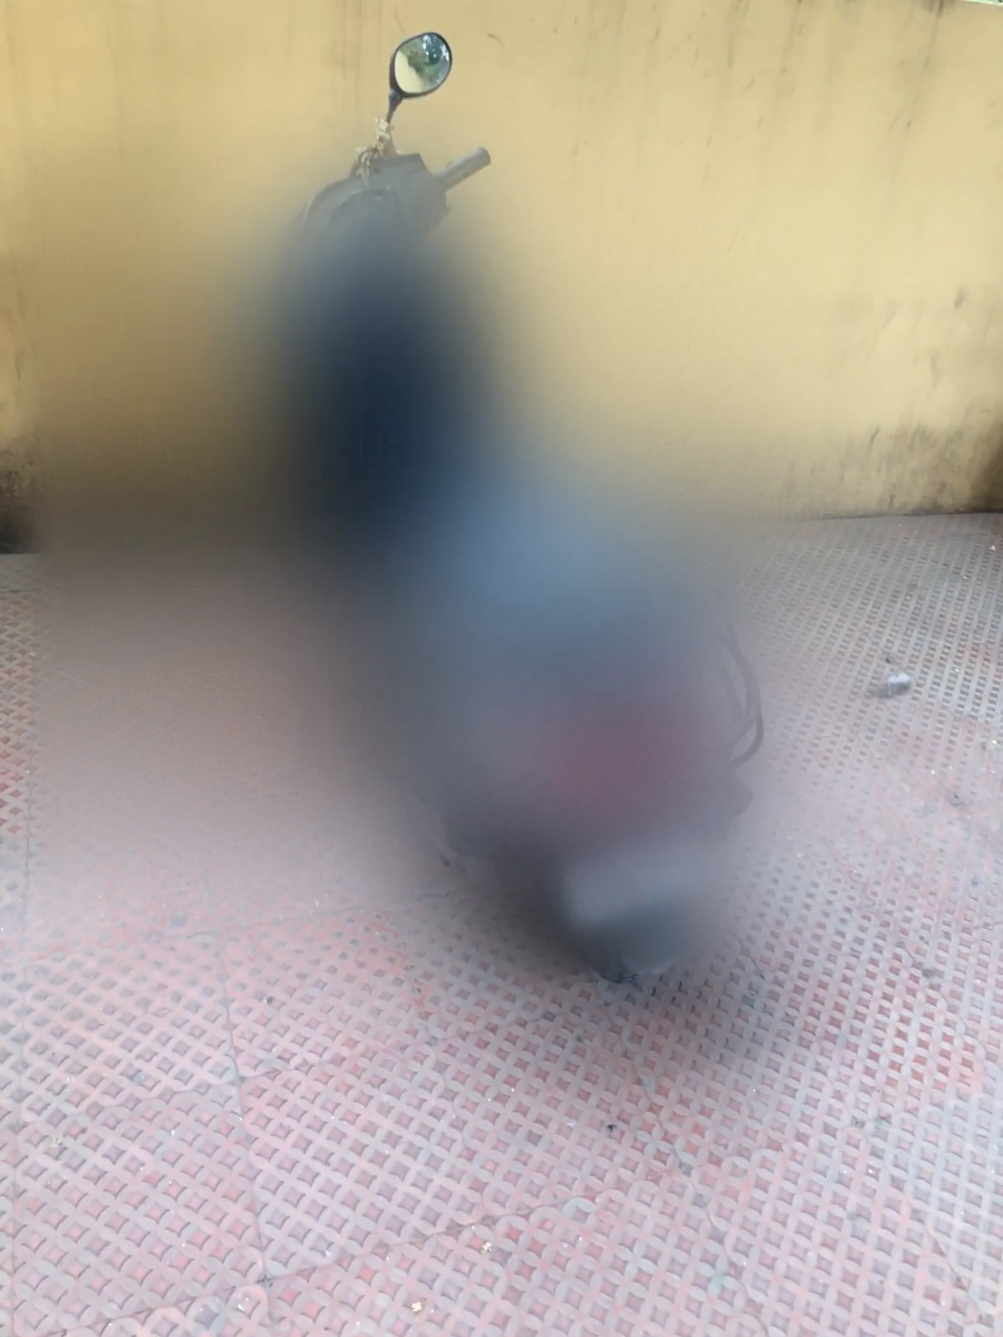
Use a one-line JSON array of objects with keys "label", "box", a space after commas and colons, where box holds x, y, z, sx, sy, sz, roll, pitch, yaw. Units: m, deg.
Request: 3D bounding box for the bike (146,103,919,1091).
[{"label": "bike", "box": [-0.176, -0.306, 1.979, 0.593, 1.044, 1.591, -8, 36, -23]}]
